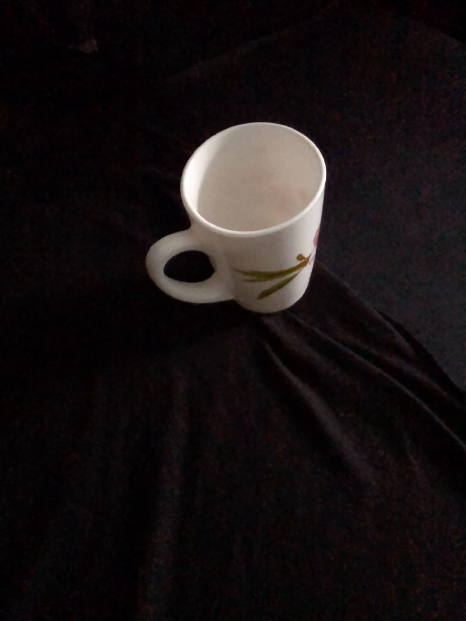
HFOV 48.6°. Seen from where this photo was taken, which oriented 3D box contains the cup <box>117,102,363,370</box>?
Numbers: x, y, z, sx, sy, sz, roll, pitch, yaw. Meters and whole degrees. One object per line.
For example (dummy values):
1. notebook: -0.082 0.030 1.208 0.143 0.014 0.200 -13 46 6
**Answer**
1. cup: 0.006 -0.049 0.380 0.125 0.130 0.090 -32 65 -14
